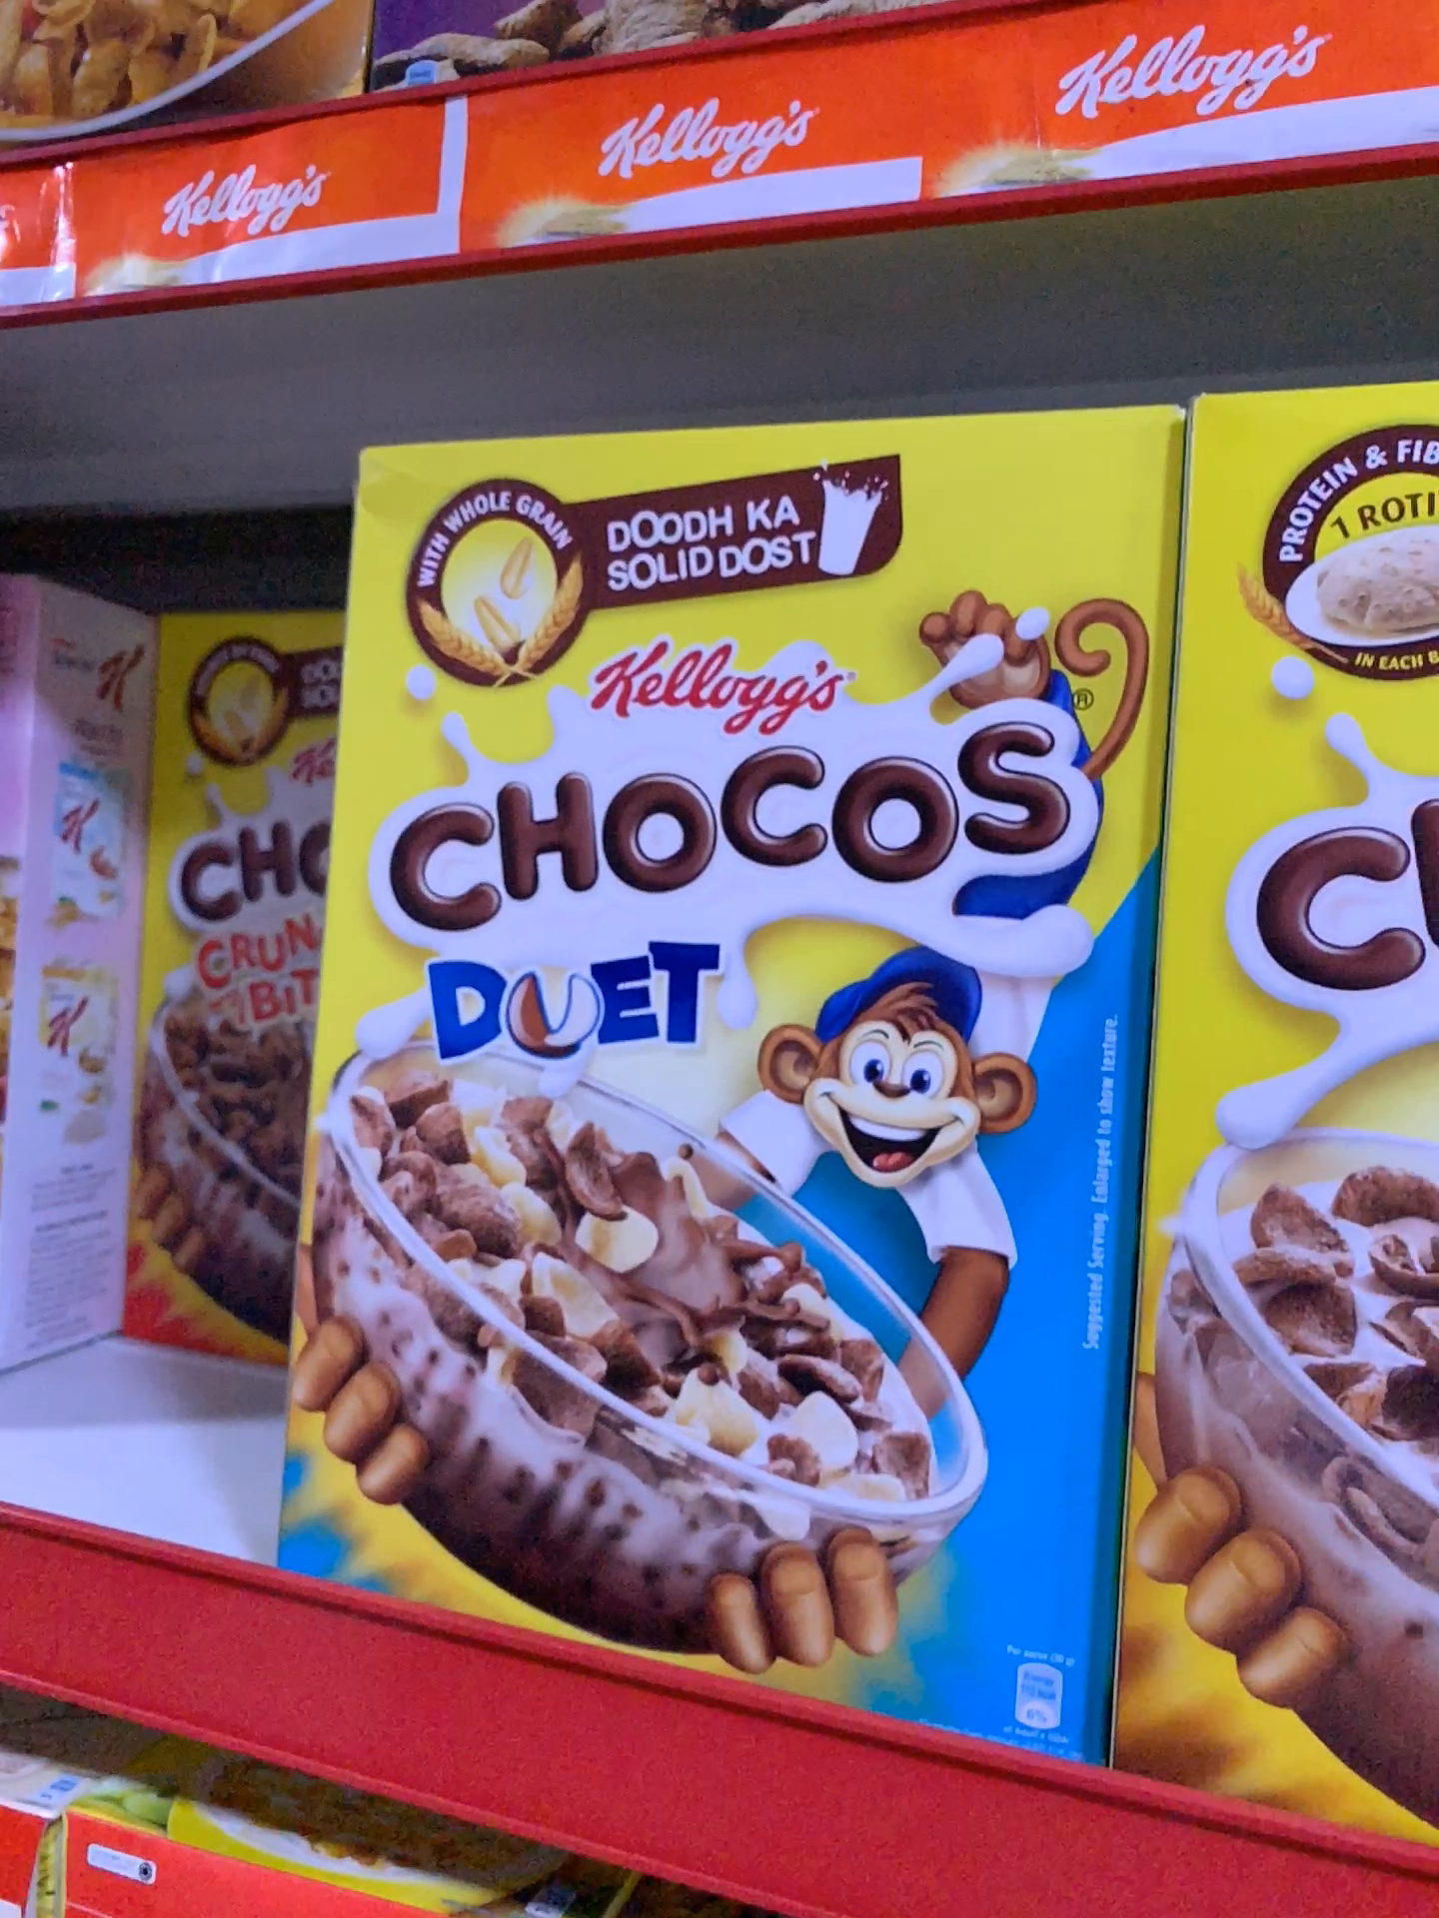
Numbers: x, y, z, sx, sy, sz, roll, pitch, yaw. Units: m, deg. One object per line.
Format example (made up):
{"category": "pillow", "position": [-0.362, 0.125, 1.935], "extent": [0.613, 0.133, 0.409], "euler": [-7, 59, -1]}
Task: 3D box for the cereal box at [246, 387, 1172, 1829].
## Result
{"category": "cereal box", "position": [-0.002, 0.020, 0.318], "extent": [0.170, 0.250, 0.060], "euler": [3, -1, 20]}
